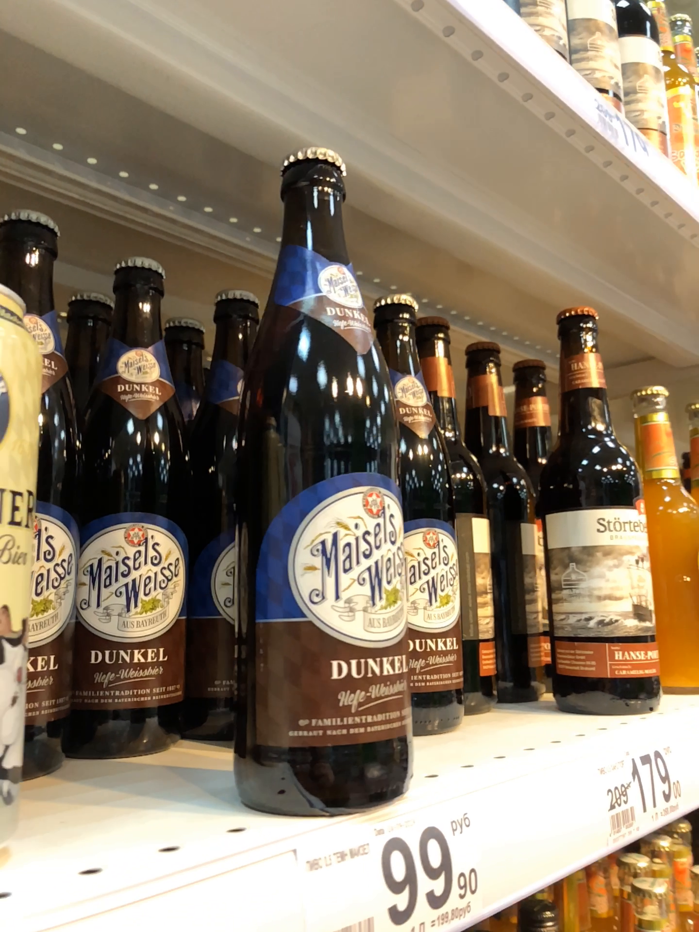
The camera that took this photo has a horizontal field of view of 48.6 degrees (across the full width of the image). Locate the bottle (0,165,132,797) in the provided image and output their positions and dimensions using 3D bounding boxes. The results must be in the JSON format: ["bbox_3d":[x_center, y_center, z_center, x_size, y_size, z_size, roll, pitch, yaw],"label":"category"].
[{"bbox_3d":[-0.157,0.005,0.370,0.070,0.263,0.082,6,-13,-33],"label":"bottle"}]

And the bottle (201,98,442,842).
[{"bbox_3d":[-0.013,-0.003,0.315,0.065,0.264,0.066,-1,-11,0],"label":"bottle"}]

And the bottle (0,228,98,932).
[{"bbox_3d":[-0.129,0.030,0.231,0.068,0.168,0.069,-1,-10,0],"label":"bottle"}]

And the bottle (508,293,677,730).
[{"bbox_3d":[0.162,0.029,0.529,0.065,0.275,0.066,-1,-11,0],"label":"bottle"}]
